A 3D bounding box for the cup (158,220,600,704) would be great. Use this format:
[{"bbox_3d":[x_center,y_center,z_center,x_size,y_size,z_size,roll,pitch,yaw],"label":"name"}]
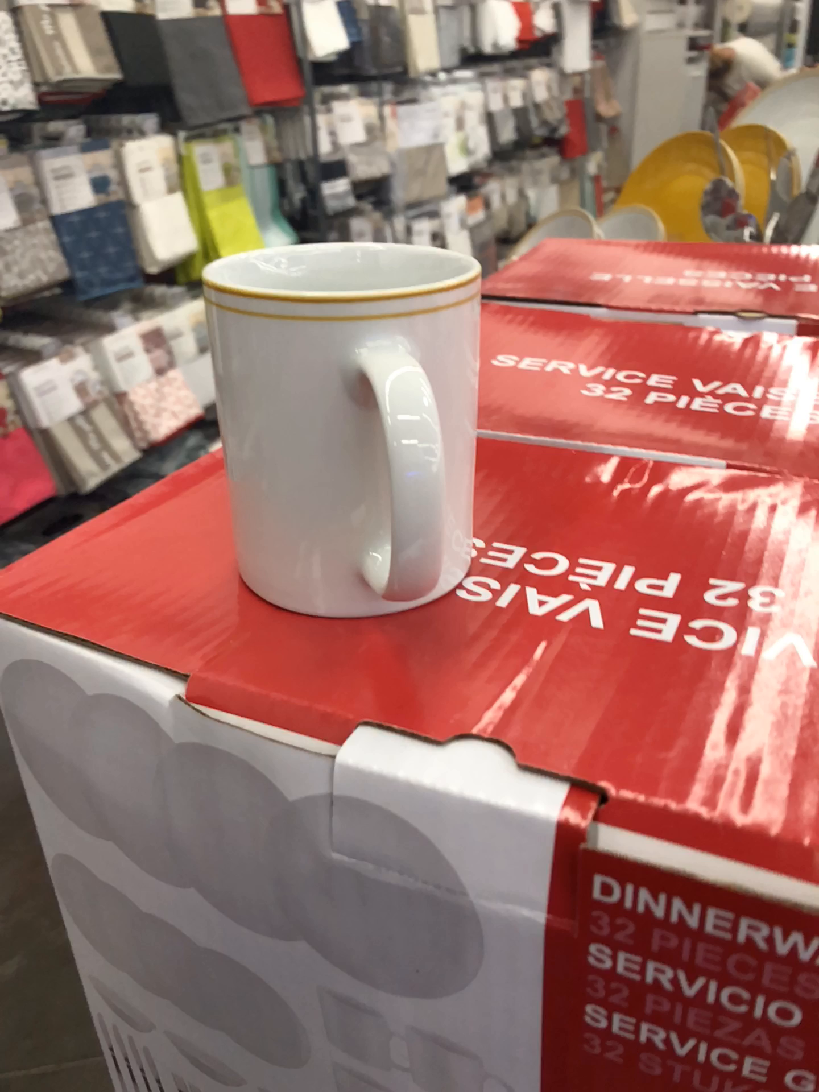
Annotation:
[{"bbox_3d":[-0.017,-0.034,0.267,0.096,0.091,0.116,-8,31,-12],"label":"cup"}]
